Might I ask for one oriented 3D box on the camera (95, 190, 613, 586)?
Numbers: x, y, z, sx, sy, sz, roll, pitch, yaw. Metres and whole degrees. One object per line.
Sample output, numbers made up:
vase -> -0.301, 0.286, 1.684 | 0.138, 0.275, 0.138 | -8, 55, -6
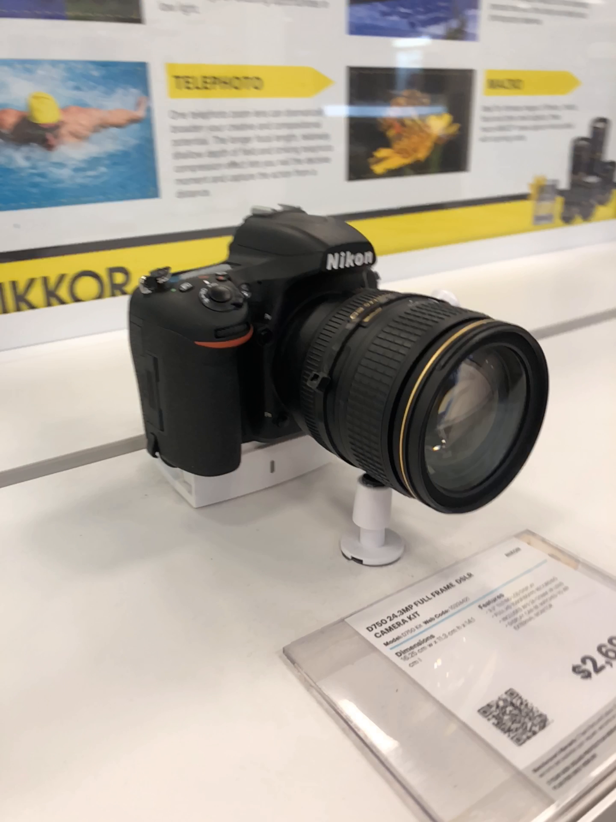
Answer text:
camera -> 0.013, -0.035, 0.319 | 0.150, 0.110, 0.170 | -17, 28, -33
